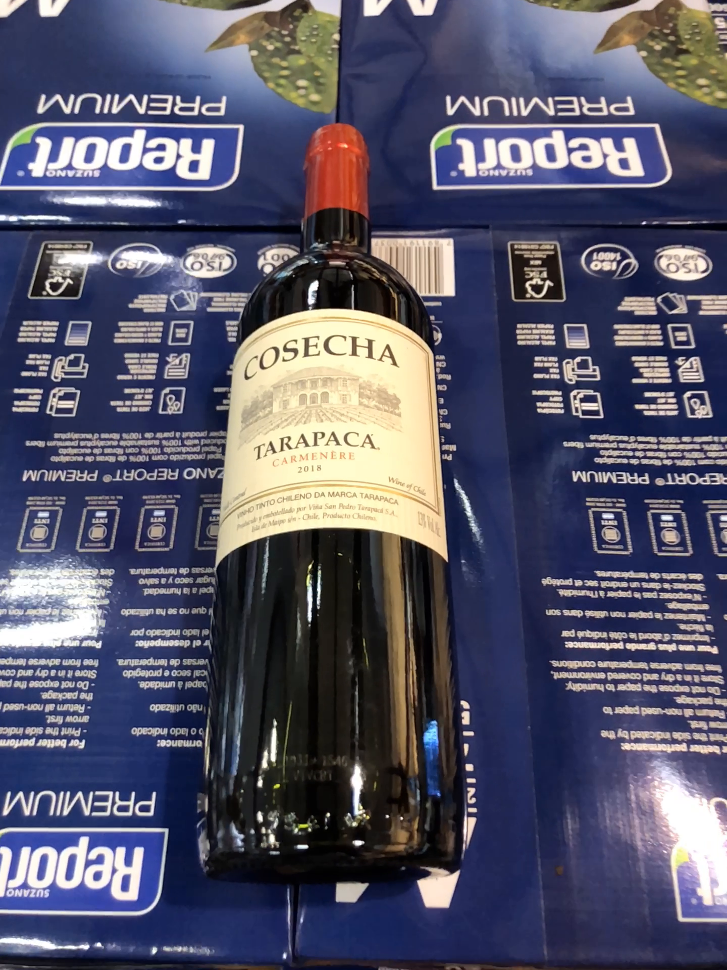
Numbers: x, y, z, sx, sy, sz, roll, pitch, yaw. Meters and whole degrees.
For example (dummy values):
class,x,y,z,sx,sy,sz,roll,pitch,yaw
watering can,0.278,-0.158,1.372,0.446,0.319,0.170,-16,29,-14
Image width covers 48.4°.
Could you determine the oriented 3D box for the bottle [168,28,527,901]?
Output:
class,x,y,z,sx,sy,sz,roll,pitch,yaw
bottle,-0.005,-0.039,0.290,0.080,0.060,0.331,-1,59,0
